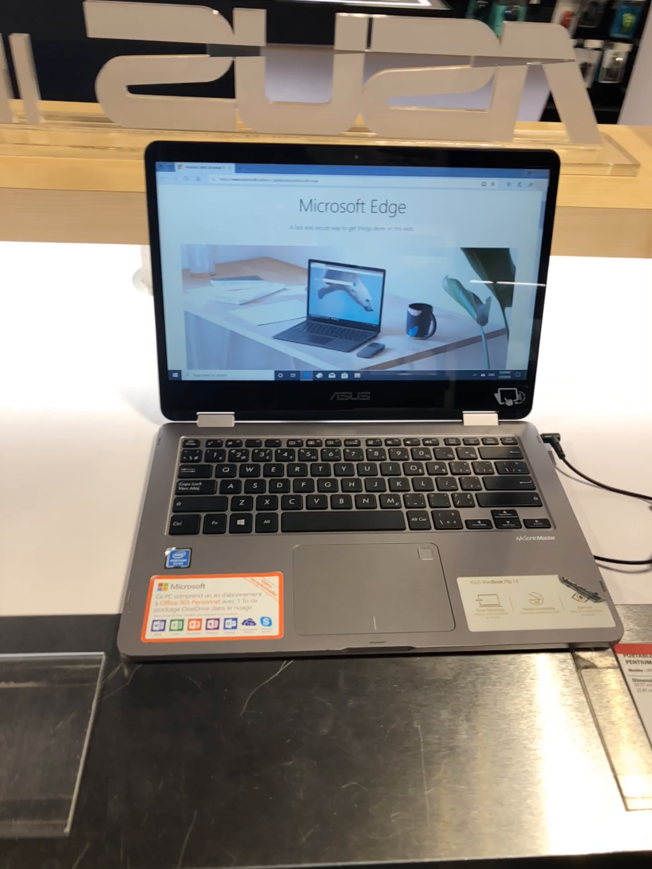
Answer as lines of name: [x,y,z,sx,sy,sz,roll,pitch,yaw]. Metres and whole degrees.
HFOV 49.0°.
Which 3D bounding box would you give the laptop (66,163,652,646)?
laptop: [0.032,-0.037,0.481,0.304,0.212,0.279,0,37,-3]
